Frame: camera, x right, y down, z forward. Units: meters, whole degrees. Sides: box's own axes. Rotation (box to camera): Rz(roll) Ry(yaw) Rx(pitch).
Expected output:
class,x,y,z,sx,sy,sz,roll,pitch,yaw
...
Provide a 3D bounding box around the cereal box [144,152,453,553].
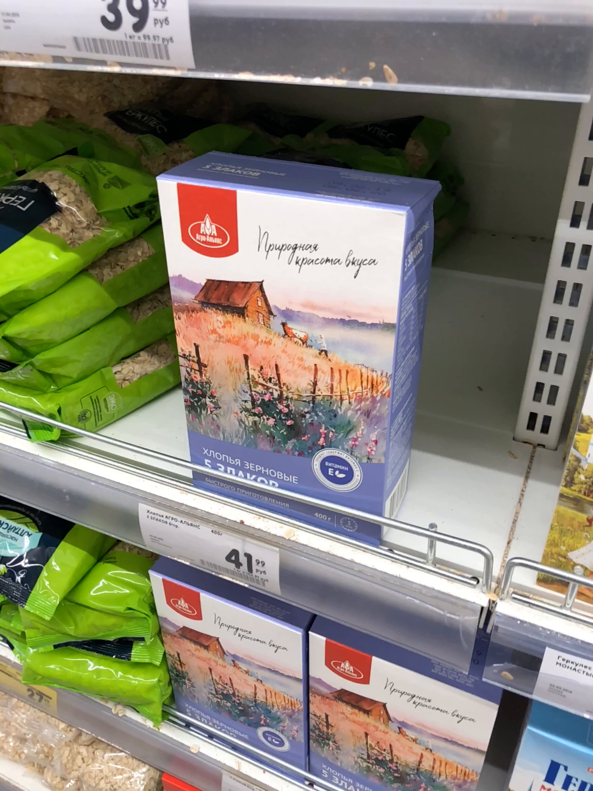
class,x,y,z,sx,sy,sz,roll,pitch,yaw
cereal box,0.001,-0.024,0.376,0.140,0.199,0.060,14,35,22
